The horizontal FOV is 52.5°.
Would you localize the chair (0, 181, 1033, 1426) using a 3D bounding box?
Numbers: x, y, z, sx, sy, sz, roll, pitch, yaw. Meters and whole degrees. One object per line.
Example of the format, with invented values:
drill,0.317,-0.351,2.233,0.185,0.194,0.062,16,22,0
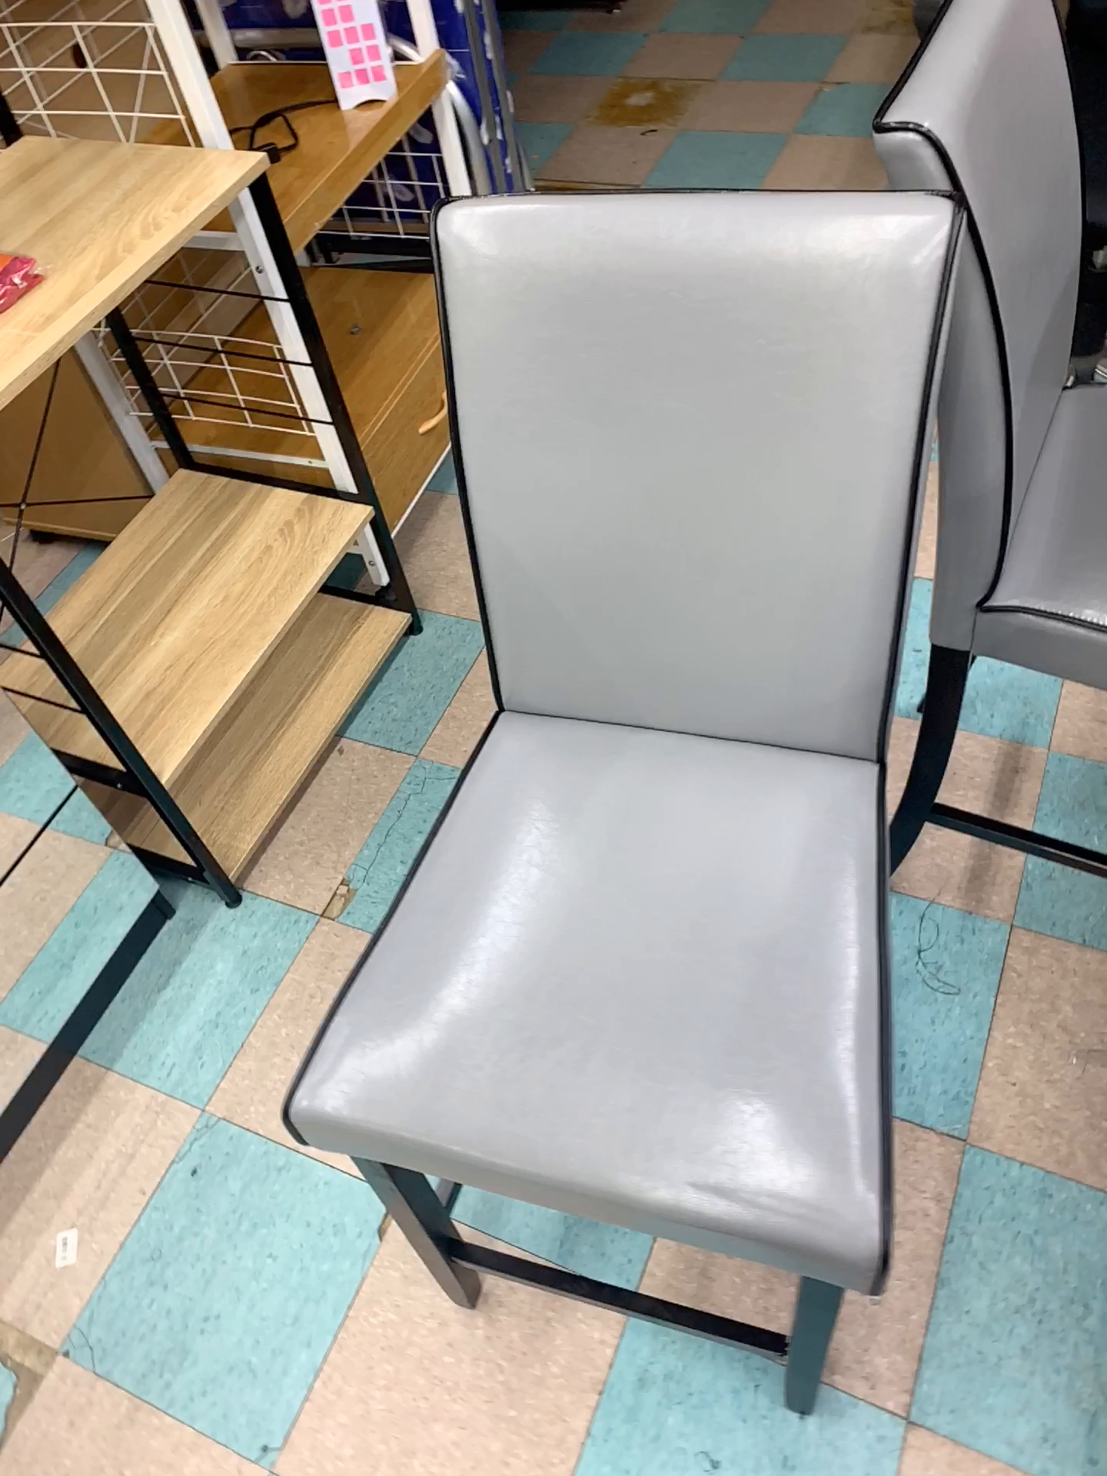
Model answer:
chair,0.066,0.130,0.956,0.451,0.931,0.562,9,54,17
